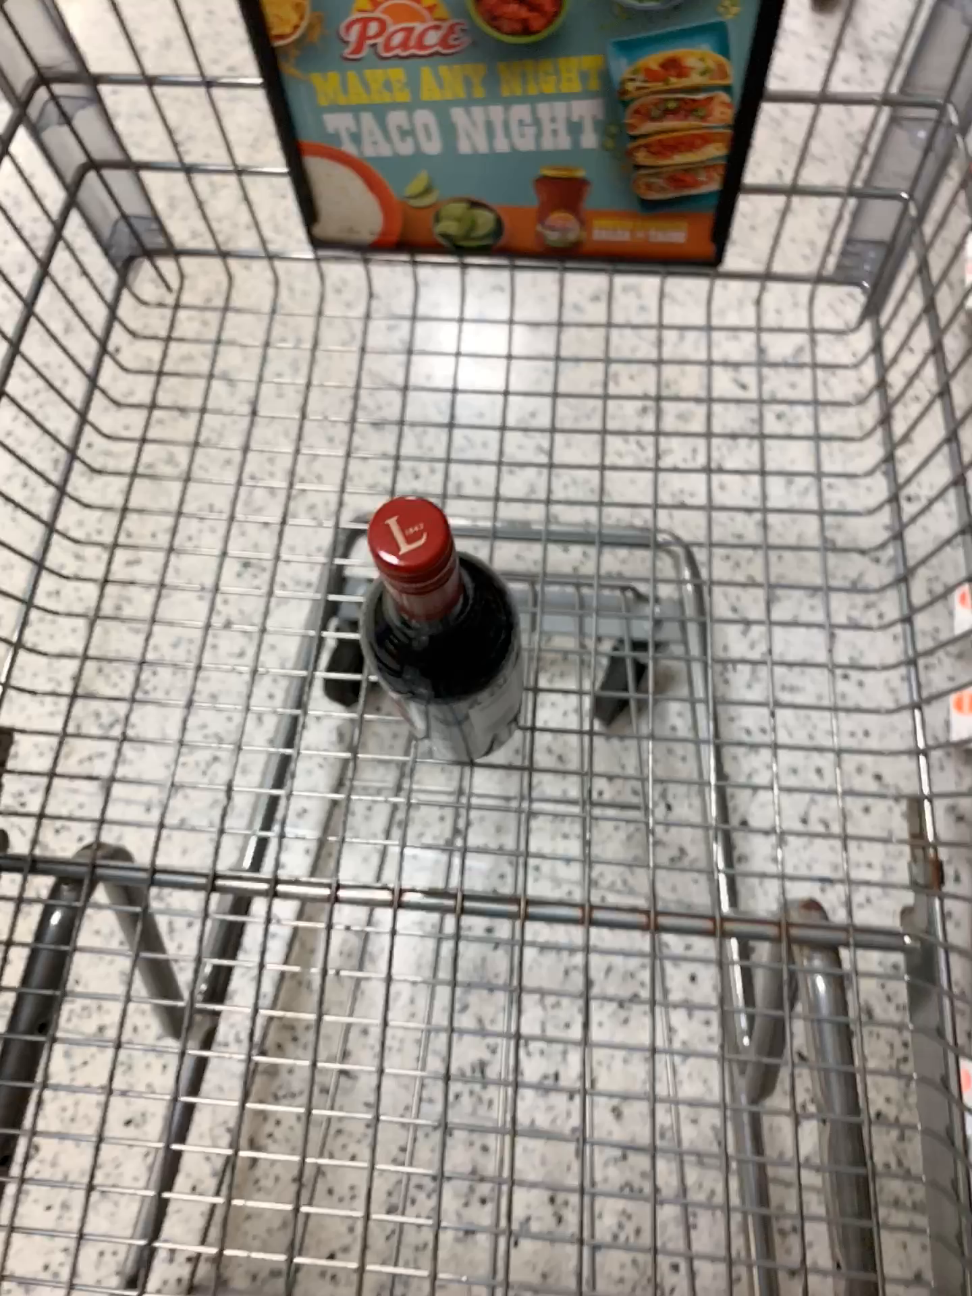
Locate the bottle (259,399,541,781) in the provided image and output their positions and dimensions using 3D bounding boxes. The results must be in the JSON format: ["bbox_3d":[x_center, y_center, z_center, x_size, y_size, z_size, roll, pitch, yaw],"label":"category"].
[{"bbox_3d":[-0.023,-0.006,0.504,0.080,0.289,0.090,9,75,7],"label":"bottle"}]
